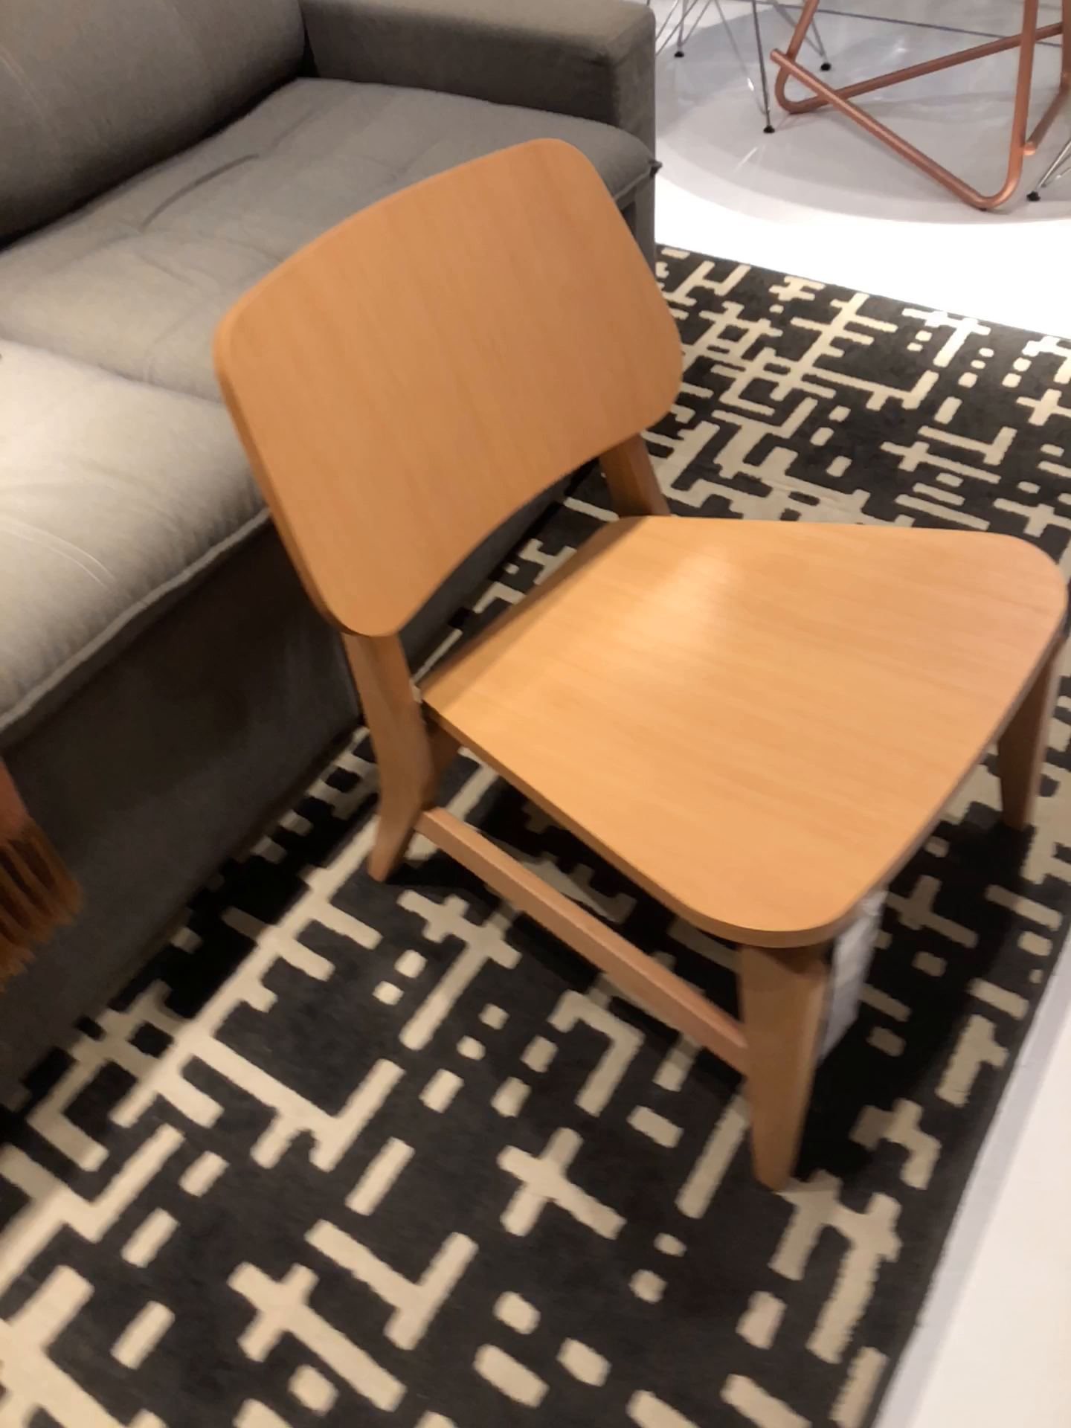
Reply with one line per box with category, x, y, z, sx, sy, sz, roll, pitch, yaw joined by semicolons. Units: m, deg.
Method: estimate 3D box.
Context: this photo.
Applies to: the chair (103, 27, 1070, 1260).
chair;0.183;-0.104;1.029;0.651;0.626;0.643;29;56;27
